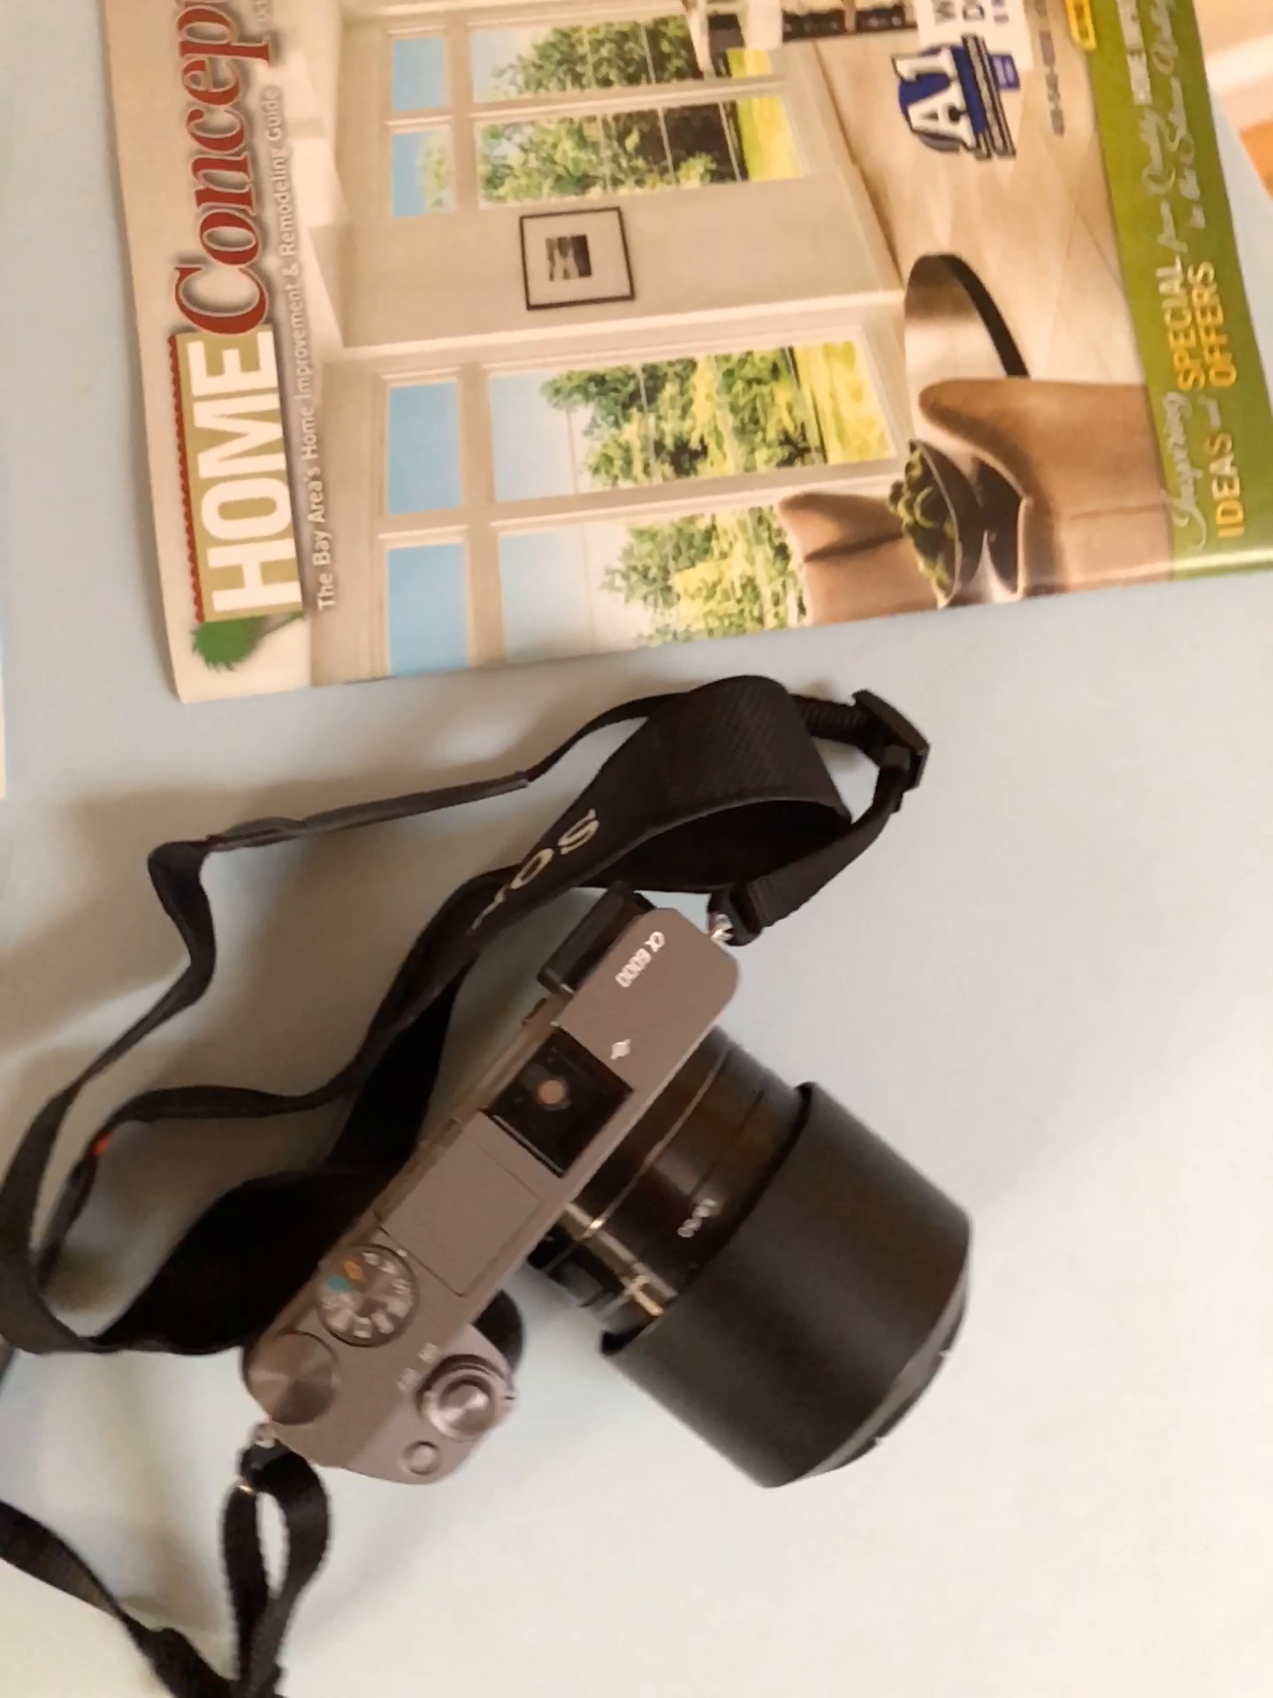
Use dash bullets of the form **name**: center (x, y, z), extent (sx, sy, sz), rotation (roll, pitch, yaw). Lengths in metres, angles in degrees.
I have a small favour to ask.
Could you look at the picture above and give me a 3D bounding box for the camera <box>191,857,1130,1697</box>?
- **camera**: center (0.004, 0.090, 0.287), extent (0.110, 0.070, 0.130), rotation (41, 84, 1)
